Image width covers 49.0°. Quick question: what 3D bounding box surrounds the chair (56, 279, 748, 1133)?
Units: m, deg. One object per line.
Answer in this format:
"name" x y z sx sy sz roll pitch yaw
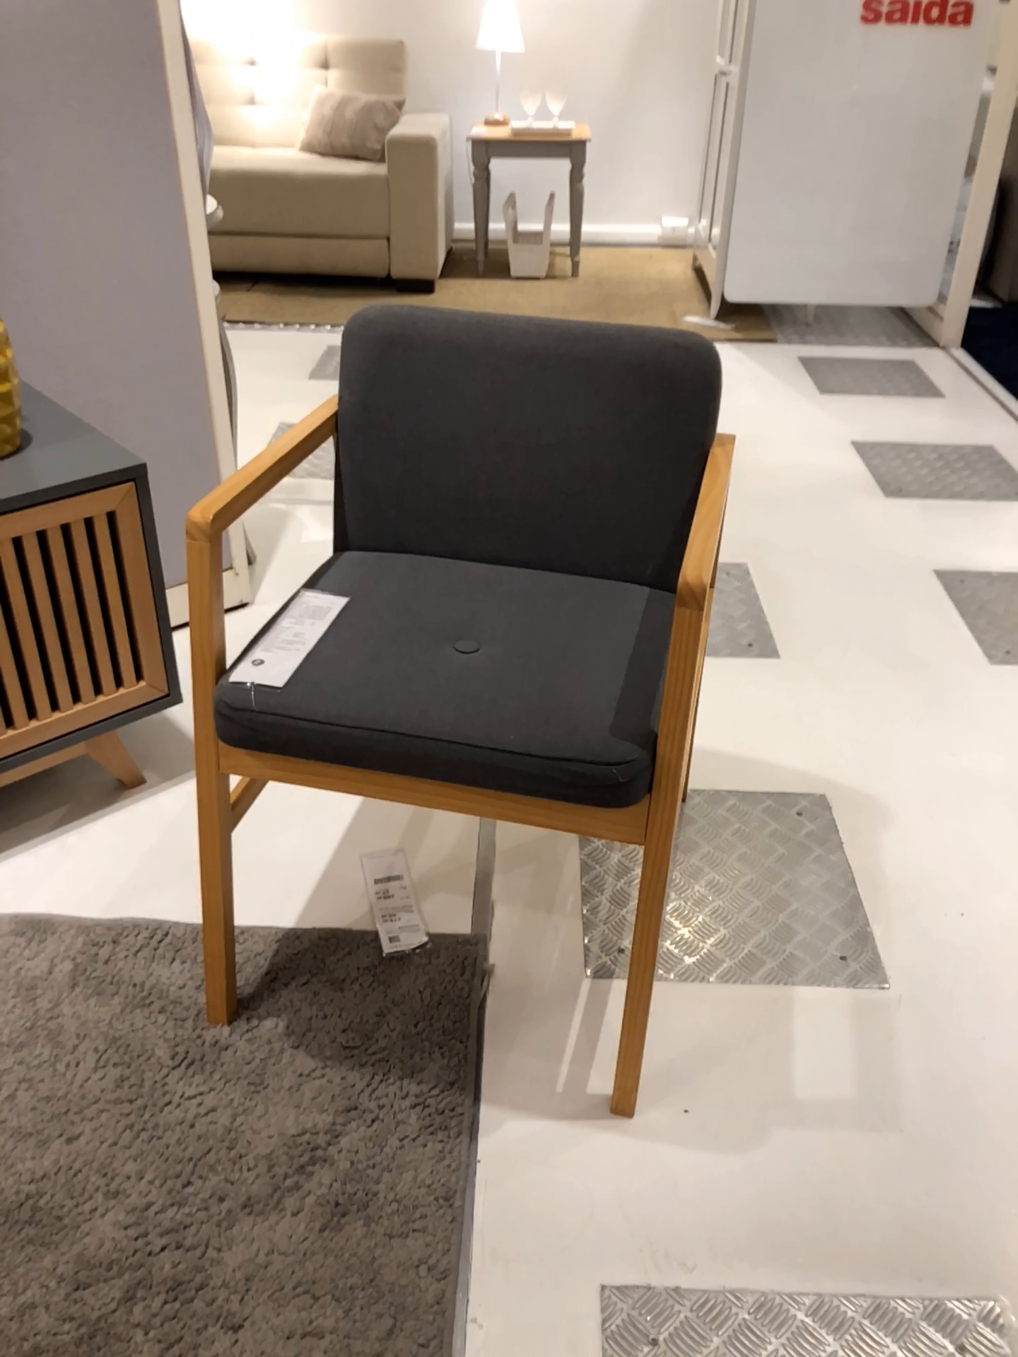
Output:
"chair" -0.048 -0.023 1.398 0.560 0.735 0.705 8 32 10
